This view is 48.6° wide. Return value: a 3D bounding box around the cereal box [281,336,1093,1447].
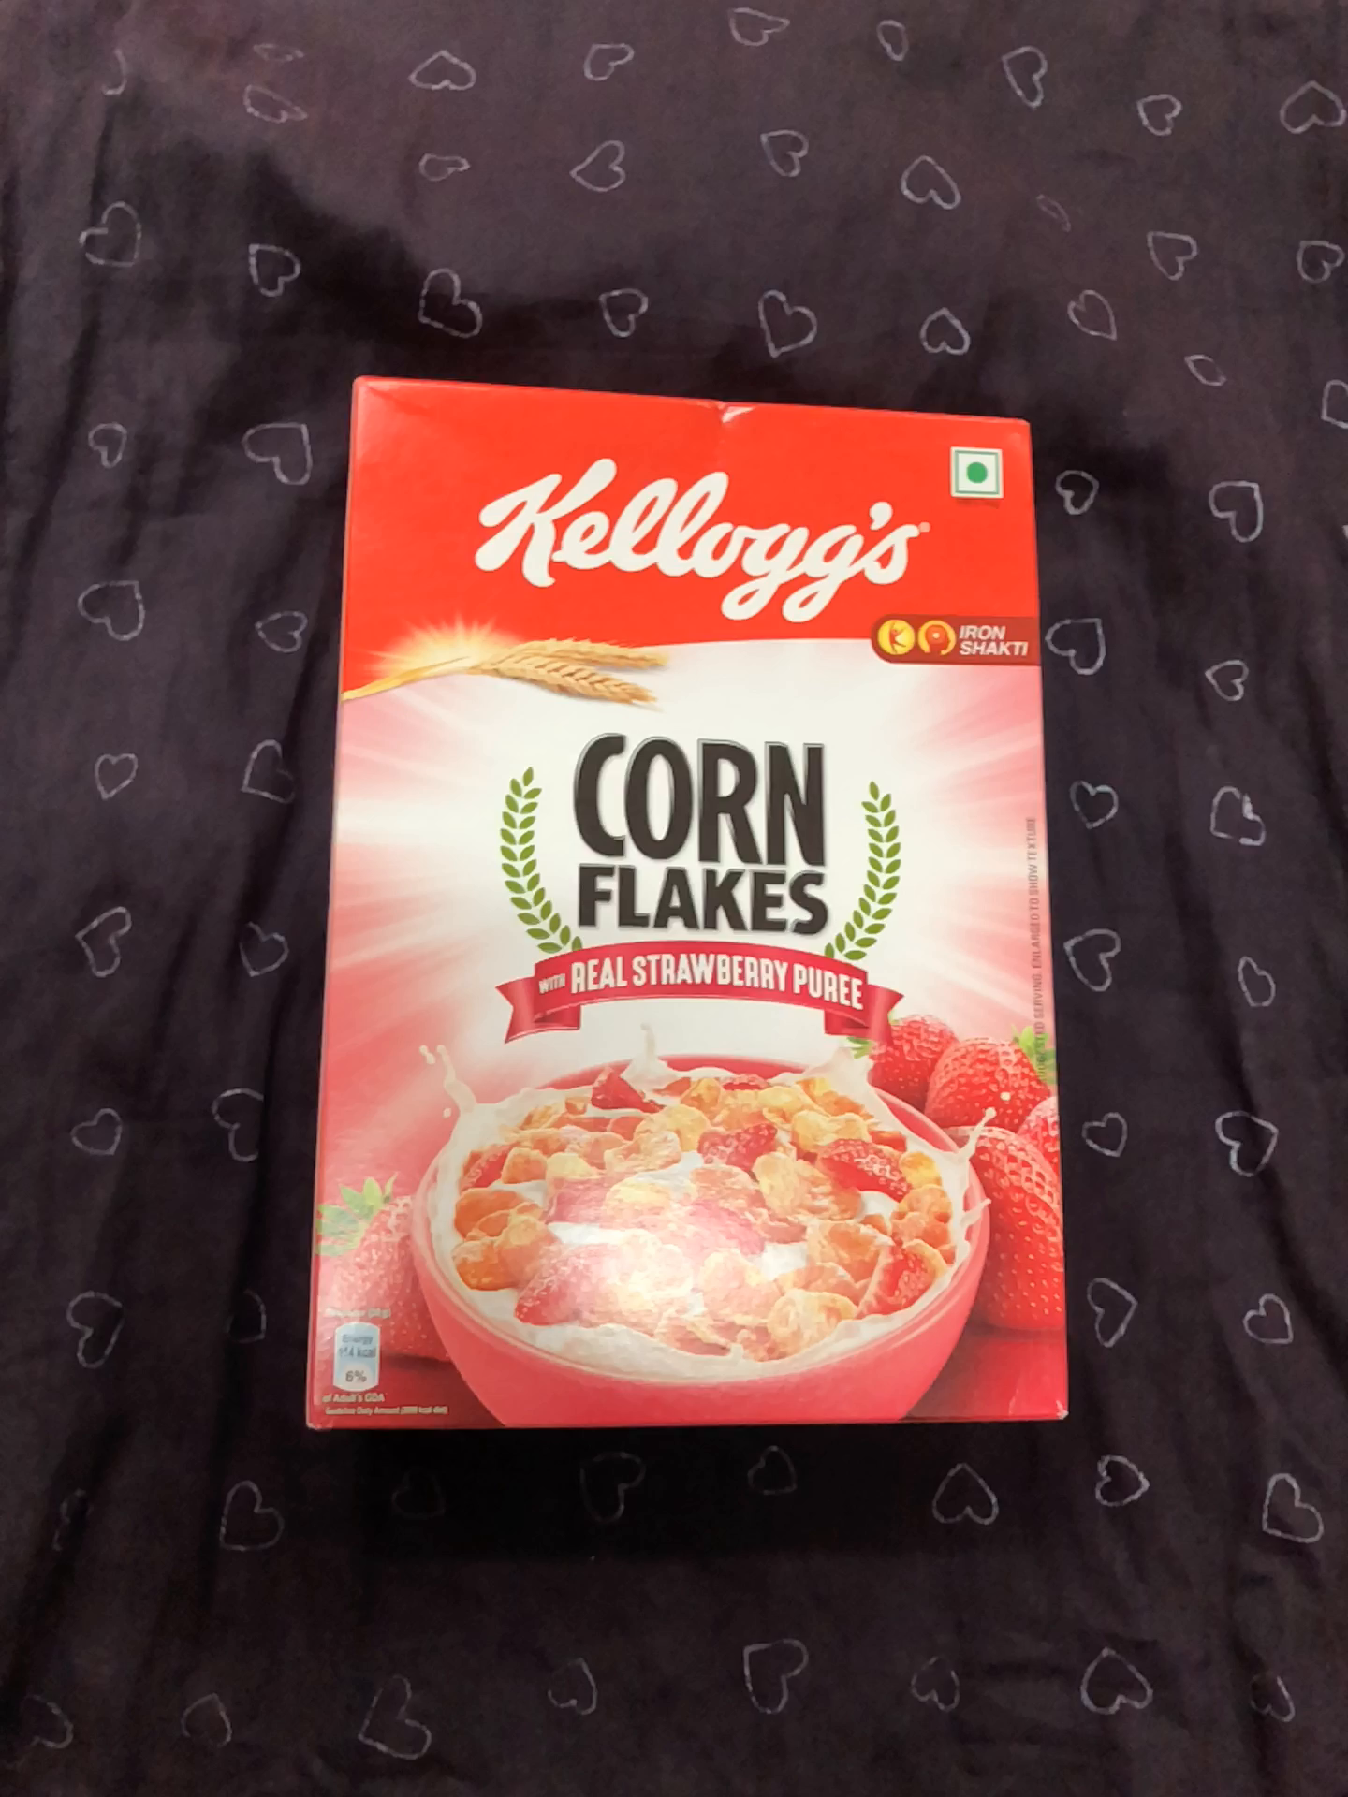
[{"bbox_3d":[0.003,-0.002,0.403,0.190,0.070,0.270,2,80,-7],"label":"cereal box"}]
